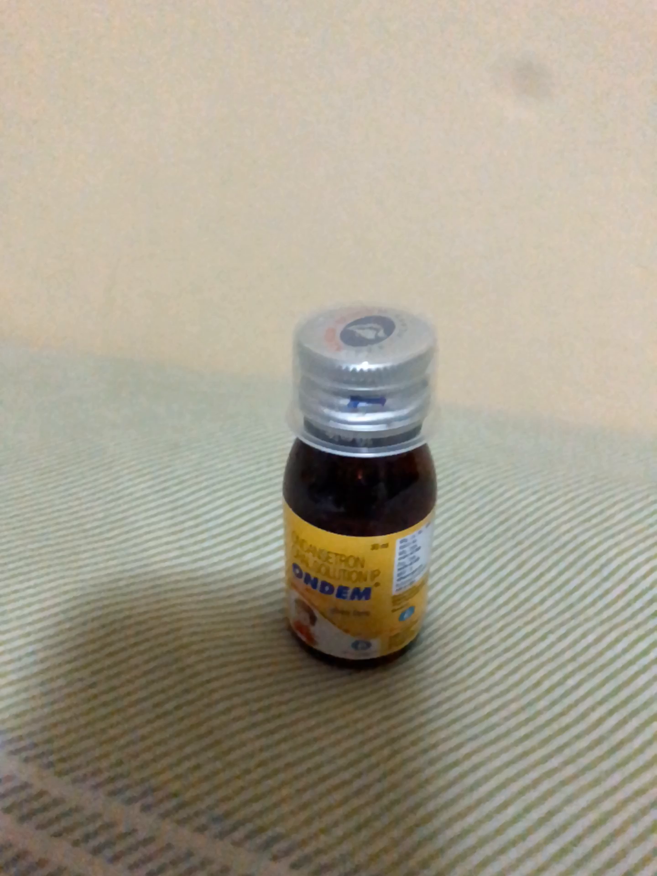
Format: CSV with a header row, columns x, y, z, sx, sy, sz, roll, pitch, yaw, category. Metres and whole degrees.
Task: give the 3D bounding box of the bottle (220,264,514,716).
x,y,z,sx,sy,sz,roll,pitch,yaw,category
0.008,0.011,0.161,0.040,0.080,0.040,0,33,0,bottle
